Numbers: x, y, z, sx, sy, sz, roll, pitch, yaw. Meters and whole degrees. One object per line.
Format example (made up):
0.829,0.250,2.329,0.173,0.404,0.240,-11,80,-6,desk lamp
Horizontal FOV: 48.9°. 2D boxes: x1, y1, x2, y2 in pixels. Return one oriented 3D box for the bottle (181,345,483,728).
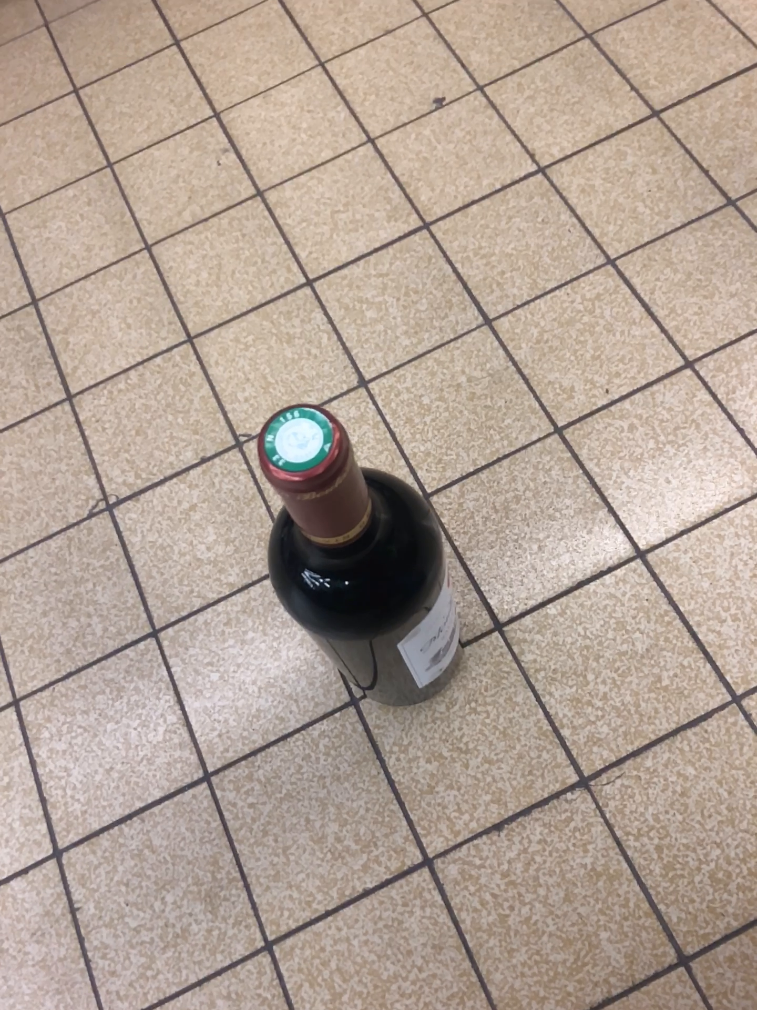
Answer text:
0.004,0.041,0.377,0.080,0.282,0.080,-3,68,7,bottle
